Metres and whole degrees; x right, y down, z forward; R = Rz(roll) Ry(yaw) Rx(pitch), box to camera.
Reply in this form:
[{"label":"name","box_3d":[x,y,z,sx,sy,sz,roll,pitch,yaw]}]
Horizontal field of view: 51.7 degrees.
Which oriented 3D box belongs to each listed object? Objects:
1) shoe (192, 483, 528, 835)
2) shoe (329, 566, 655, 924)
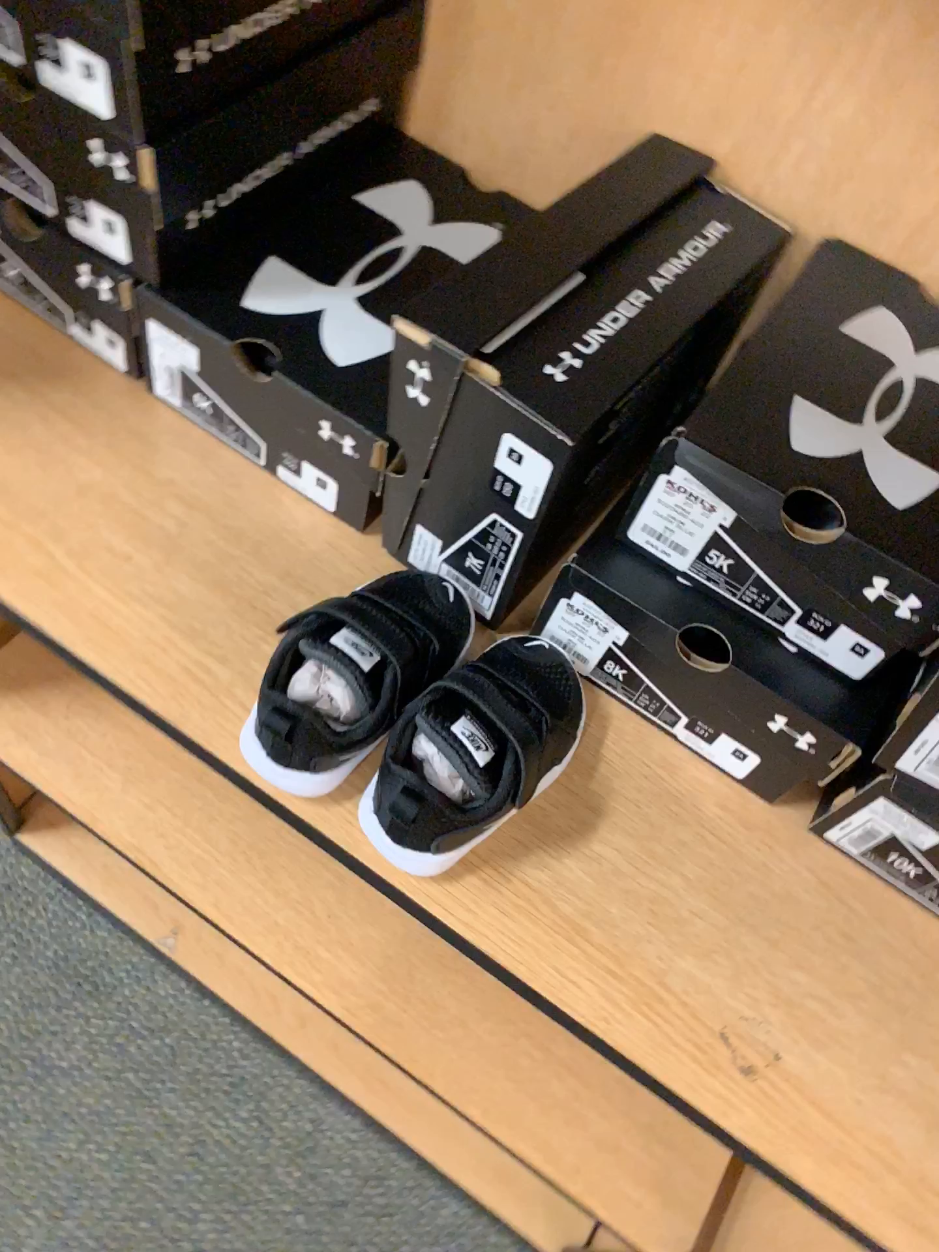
[{"label":"shoe","box_3d":[-0.048,0.012,0.443,0.070,0.060,0.140,37,59,10]},{"label":"shoe","box_3d":[0.011,0.051,0.443,0.070,0.060,0.140,37,59,10]}]
